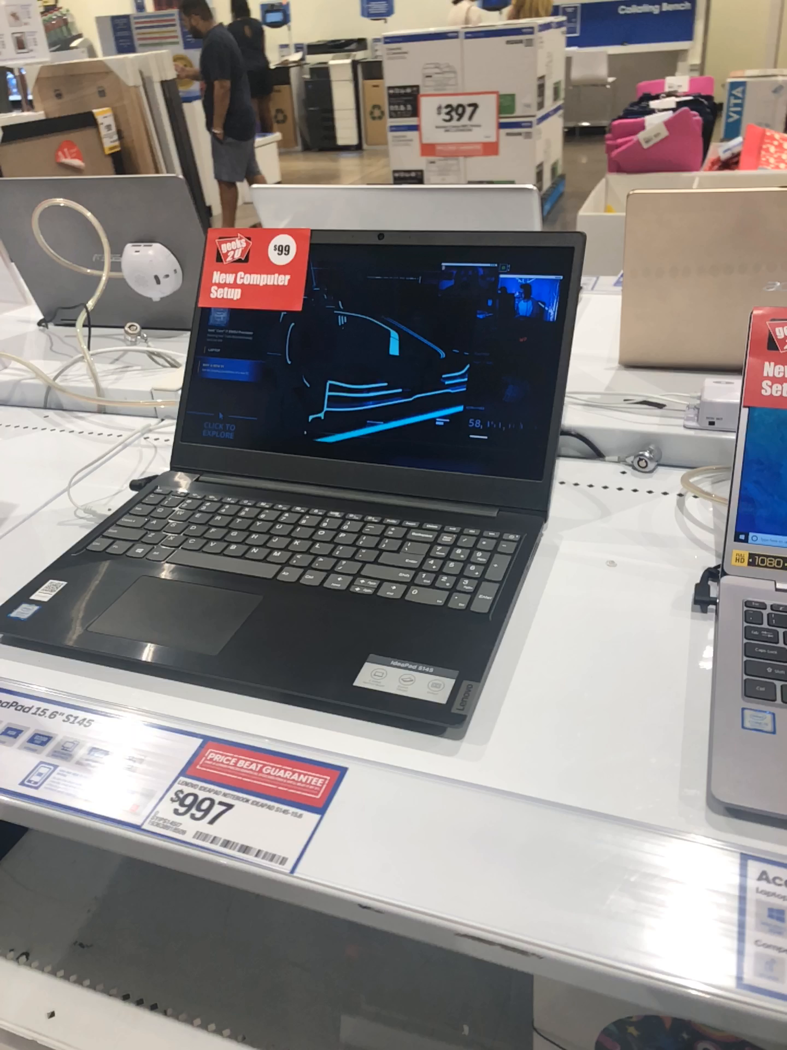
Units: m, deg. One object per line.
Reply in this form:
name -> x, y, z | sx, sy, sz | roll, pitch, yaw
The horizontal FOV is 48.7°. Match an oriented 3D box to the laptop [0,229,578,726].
laptop -> -0.072, -0.081, 0.660 | 0.353, 0.192, 0.374 | 7, 32, 19
